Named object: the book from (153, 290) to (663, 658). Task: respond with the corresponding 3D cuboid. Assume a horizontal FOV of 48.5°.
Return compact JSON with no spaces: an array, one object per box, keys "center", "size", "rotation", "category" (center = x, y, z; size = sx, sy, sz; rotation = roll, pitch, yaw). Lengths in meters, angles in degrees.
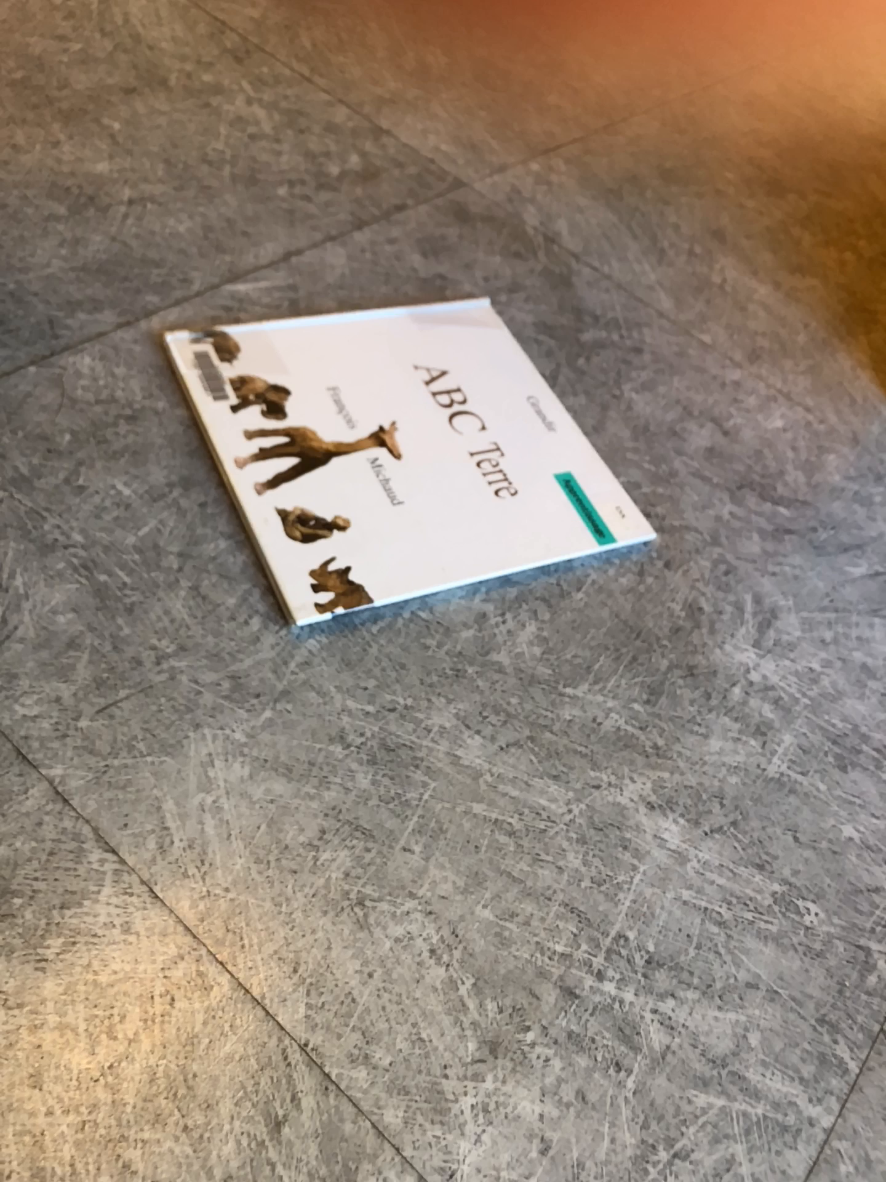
[{"center":[-0.021,-0.075,0.499],"size":[0.194,0.020,0.200],"rotation":[-14,57,-26],"category":"book"}]
